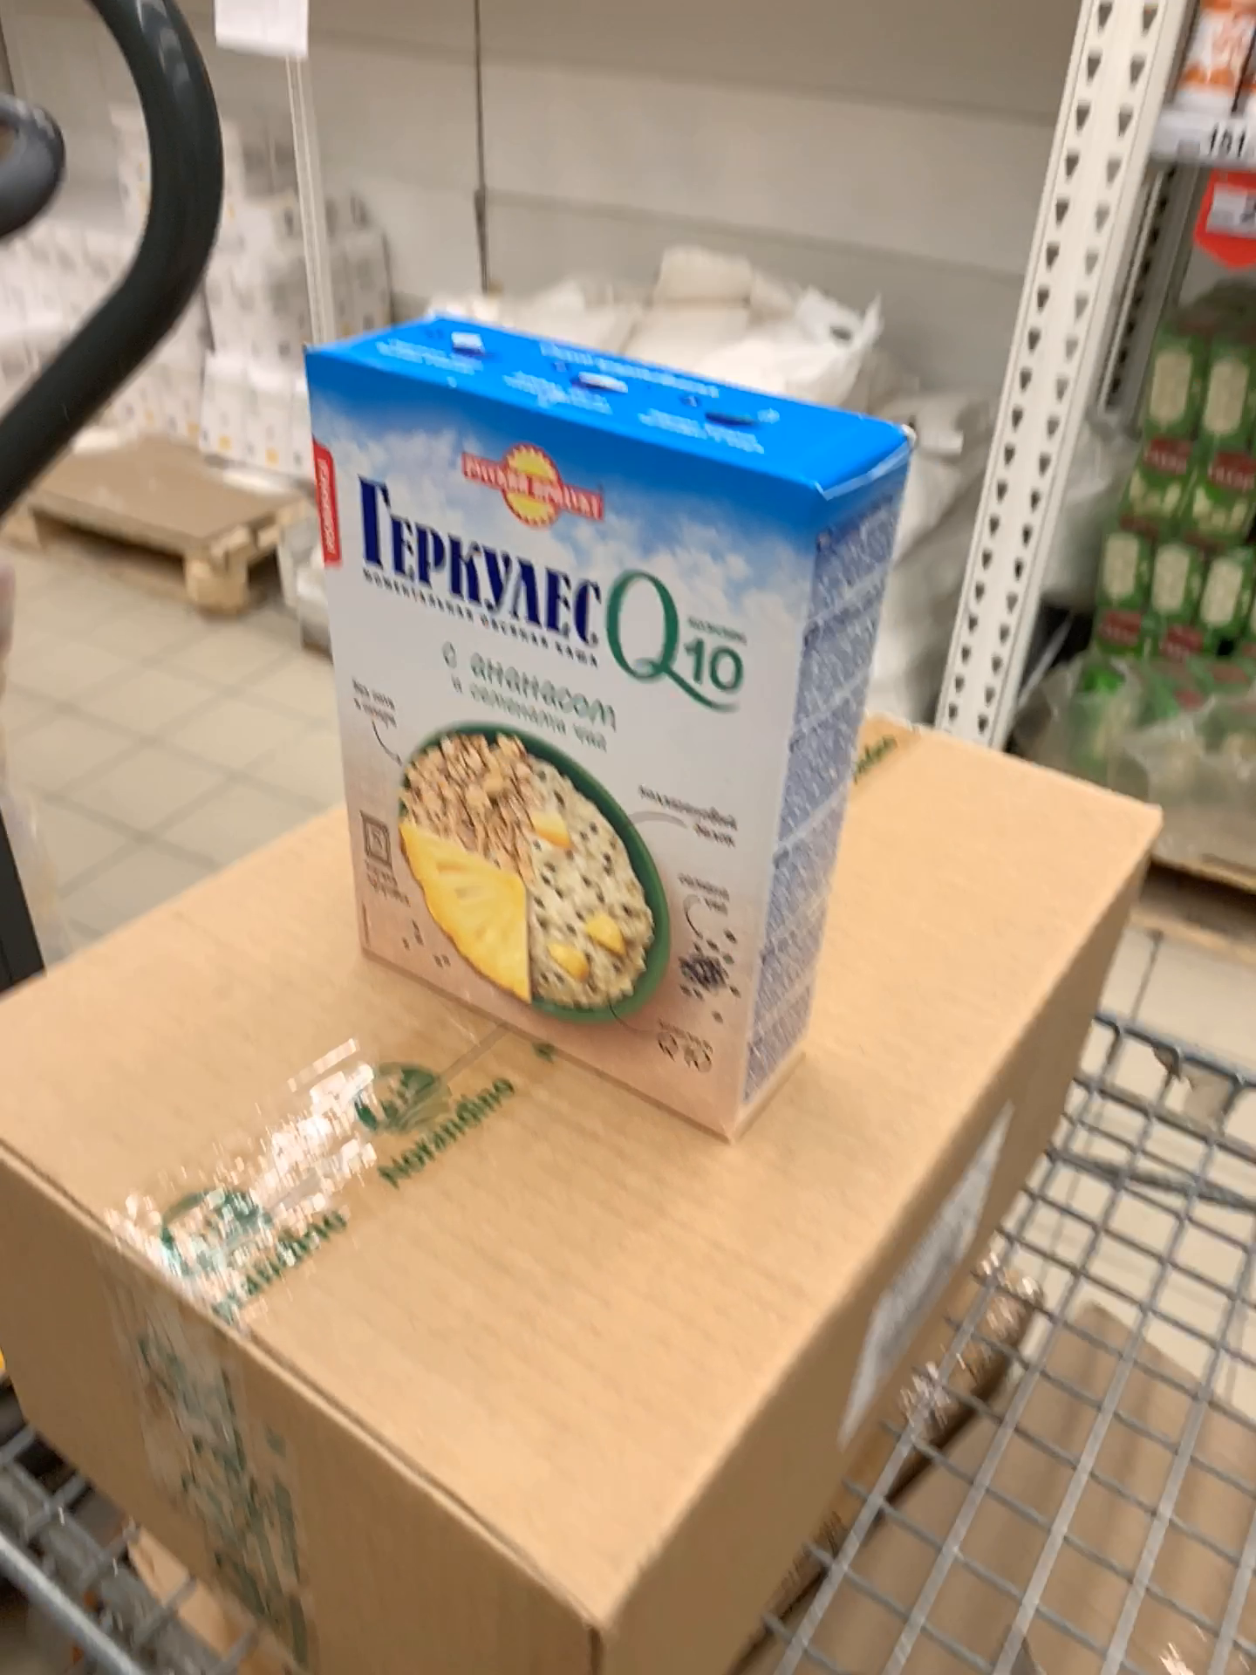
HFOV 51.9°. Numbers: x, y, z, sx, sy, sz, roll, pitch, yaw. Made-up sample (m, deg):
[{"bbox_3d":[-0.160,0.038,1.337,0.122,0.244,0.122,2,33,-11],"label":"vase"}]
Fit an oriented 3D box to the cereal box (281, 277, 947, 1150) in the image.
[{"bbox_3d":[-0.011,-0.031,0.354,0.150,0.199,0.050,23,40,25],"label":"cereal box"}]
